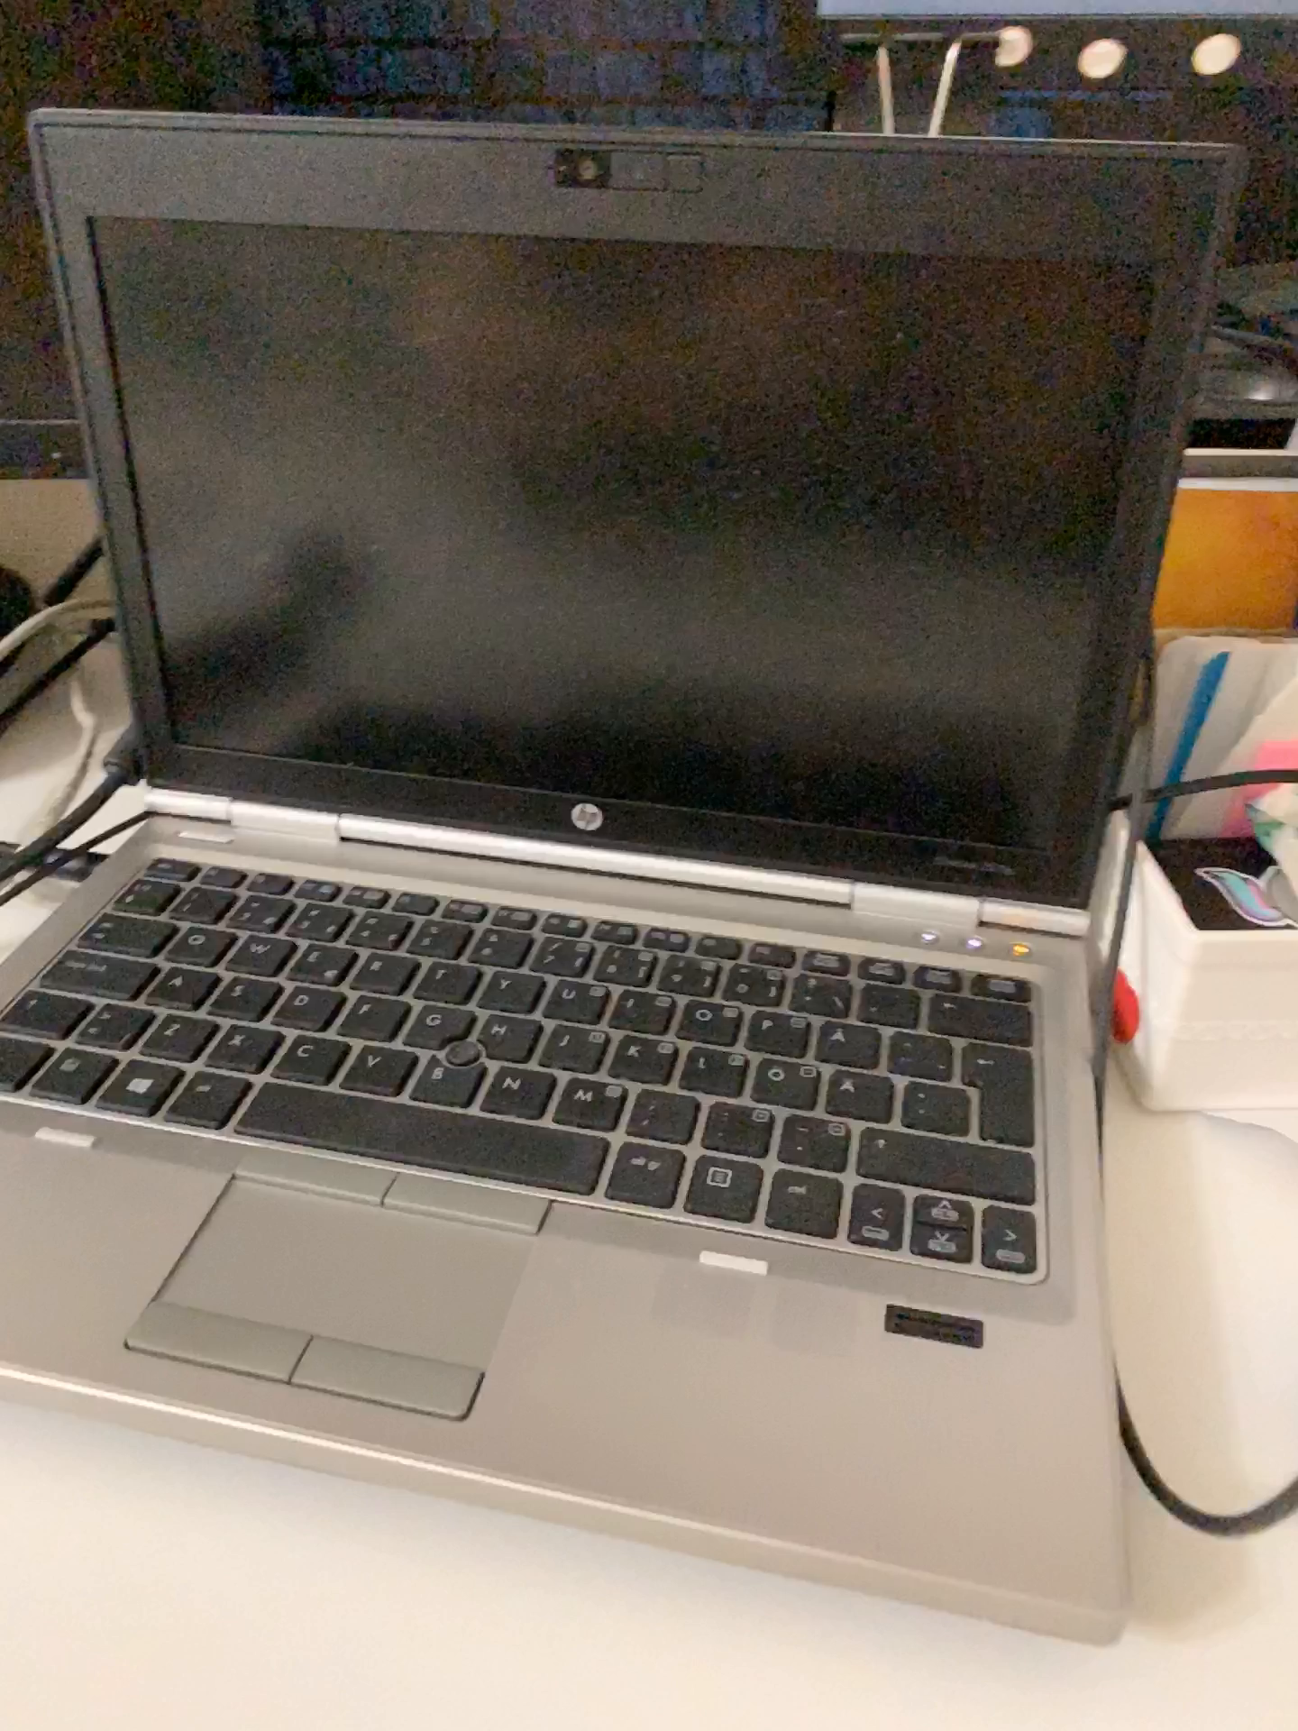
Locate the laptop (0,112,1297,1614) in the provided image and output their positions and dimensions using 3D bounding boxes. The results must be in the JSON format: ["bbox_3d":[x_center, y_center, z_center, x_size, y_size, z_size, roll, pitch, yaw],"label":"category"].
[{"bbox_3d":[-0.041,-0.038,0.302,0.303,0.205,0.225,8,34,11],"label":"laptop"}]
